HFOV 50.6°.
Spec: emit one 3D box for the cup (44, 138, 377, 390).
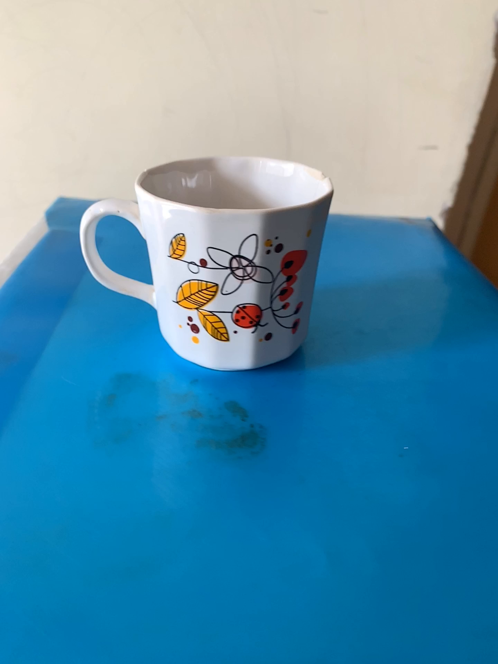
[{"bbox_3d":[-0.011,-0.030,0.201,0.100,0.060,0.071,8,31,3],"label":"cup"}]
